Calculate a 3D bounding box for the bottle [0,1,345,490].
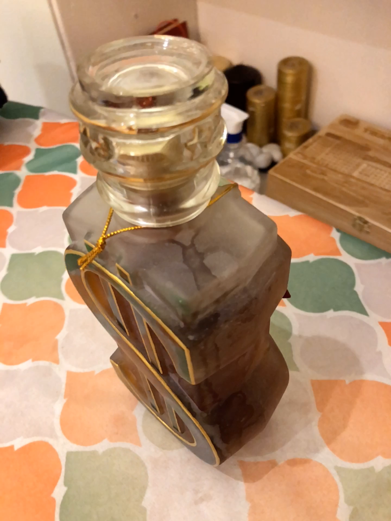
[{"bbox_3d":[-0.007,0.019,0.215,0.100,0.233,0.064,33,60,30],"label":"bottle"}]
